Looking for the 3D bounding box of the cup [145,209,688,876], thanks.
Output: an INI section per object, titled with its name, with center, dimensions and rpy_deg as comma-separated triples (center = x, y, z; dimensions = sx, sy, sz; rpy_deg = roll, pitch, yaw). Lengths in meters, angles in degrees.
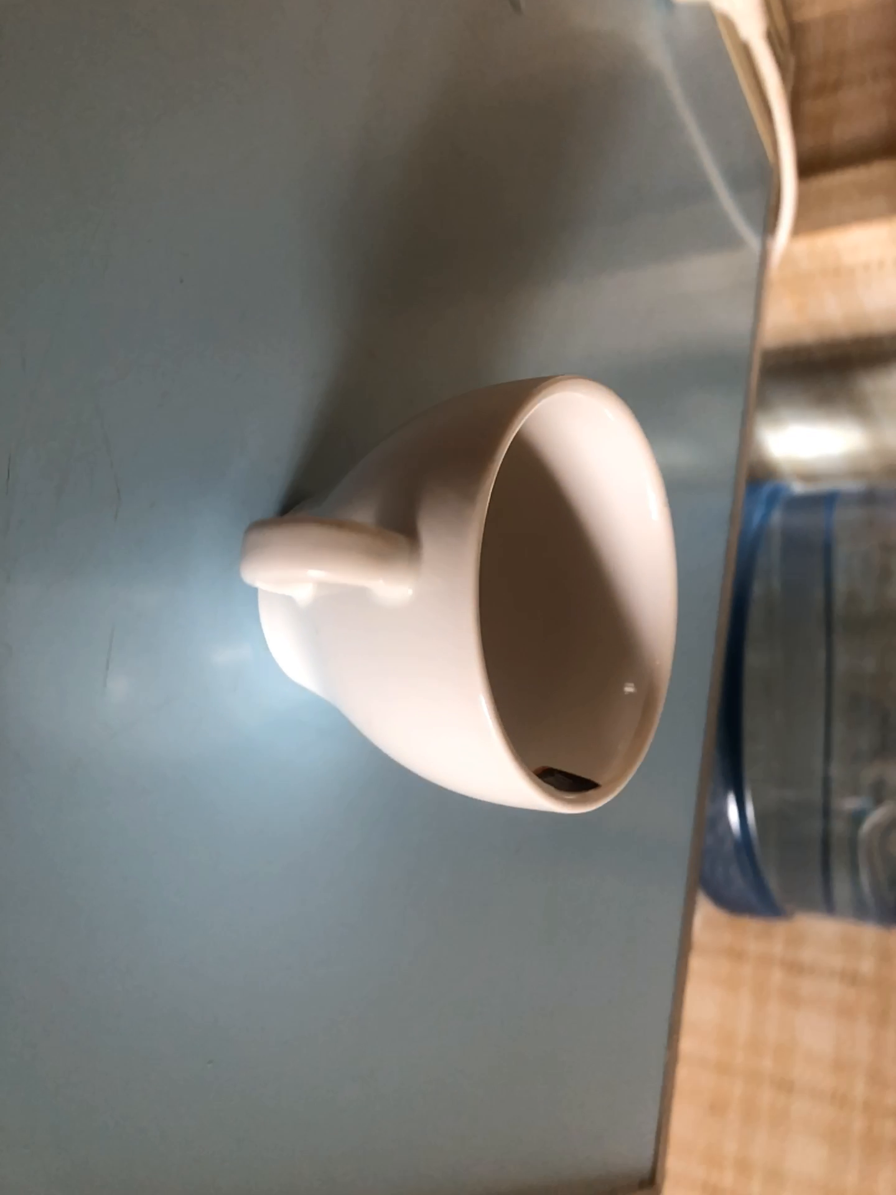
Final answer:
[cup]
center = 0.002, -0.006, 0.205
dimensions = 0.107, 0.057, 0.096
rpy_deg = 4, 85, -55
